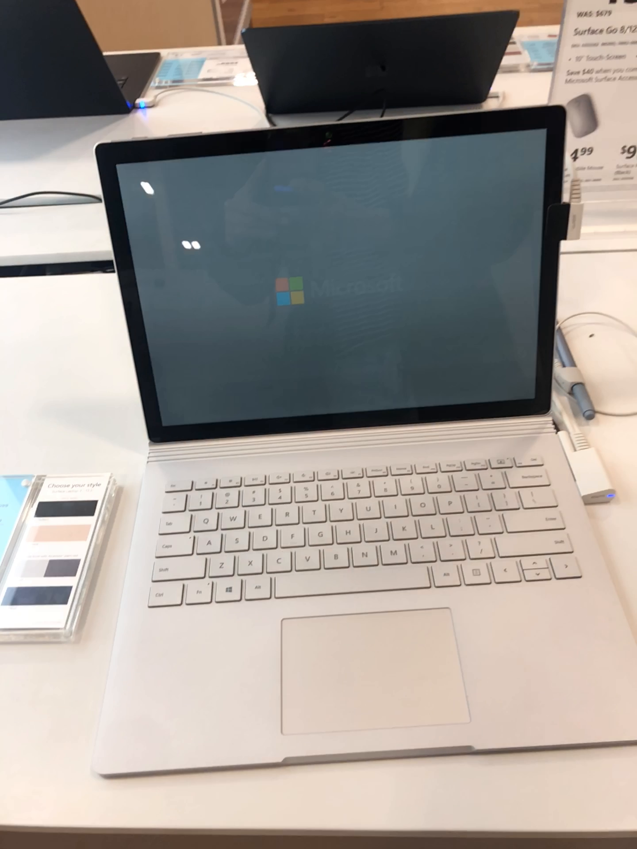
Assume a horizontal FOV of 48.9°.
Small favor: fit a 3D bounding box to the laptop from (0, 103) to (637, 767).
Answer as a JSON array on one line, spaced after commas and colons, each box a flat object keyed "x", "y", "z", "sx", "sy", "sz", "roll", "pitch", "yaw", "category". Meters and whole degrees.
[{"x": 0.016, "y": -0.011, "z": 0.400, "sx": 0.291, "sy": 0.191, "sz": 0.312, "roll": -4, "pitch": 46, "yaw": 1, "category": "laptop"}]
